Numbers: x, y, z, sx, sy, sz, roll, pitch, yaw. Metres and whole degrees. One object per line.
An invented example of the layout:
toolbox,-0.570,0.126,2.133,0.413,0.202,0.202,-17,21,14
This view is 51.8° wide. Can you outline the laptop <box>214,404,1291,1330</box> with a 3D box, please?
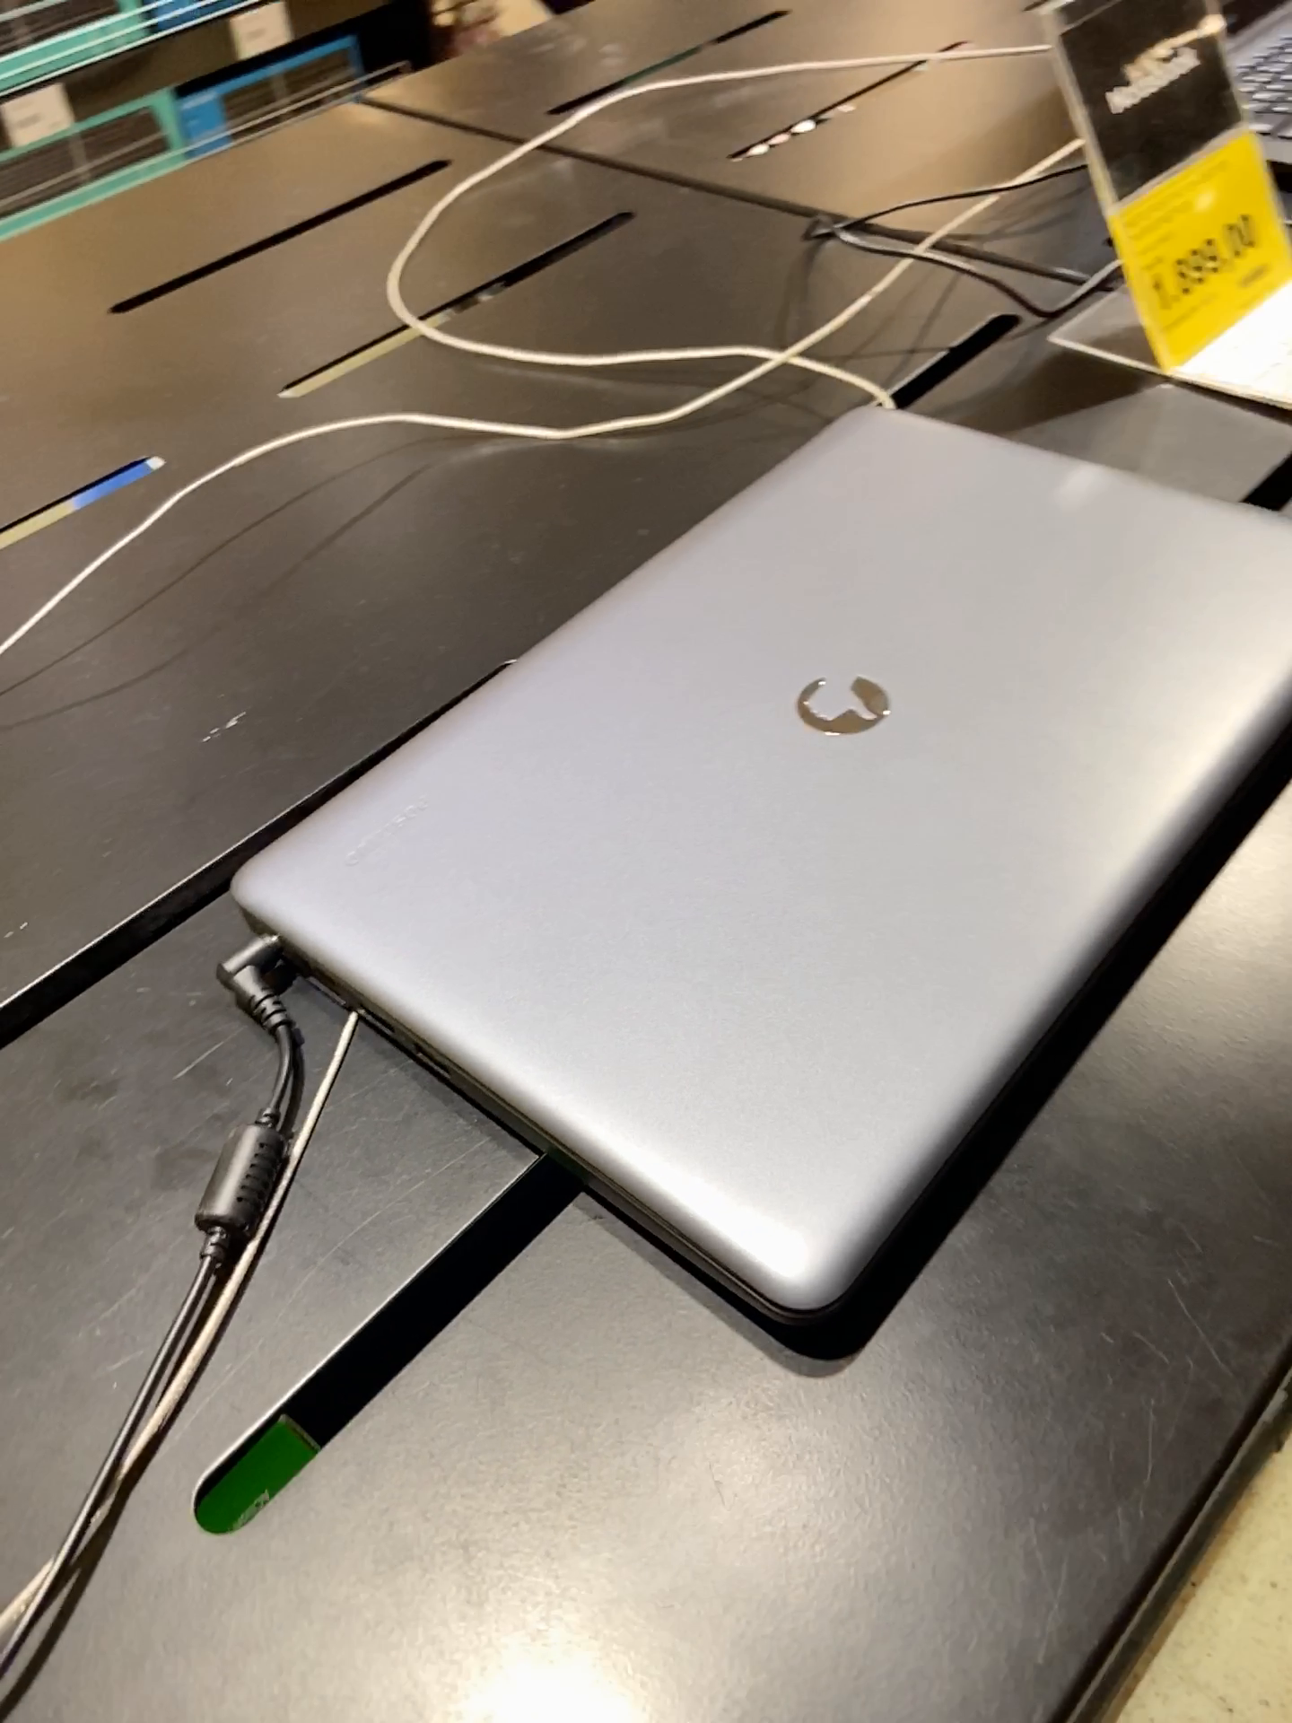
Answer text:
laptop,0.060,-0.044,0.414,0.213,0.001,0.330,29,57,31
